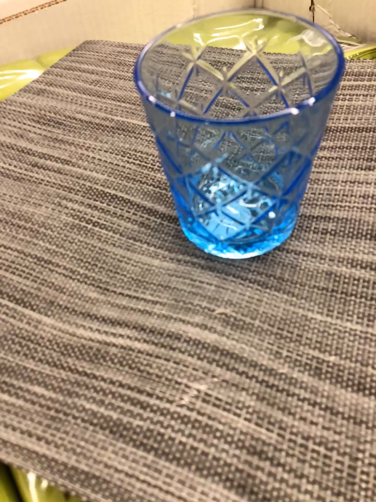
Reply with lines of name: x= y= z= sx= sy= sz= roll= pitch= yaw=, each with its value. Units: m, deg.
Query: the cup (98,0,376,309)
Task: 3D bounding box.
cup: x=0.030 y=-0.049 z=0.189 sx=0.080 sy=0.090 sz=0.090 roll=33 pitch=62 yaw=29
